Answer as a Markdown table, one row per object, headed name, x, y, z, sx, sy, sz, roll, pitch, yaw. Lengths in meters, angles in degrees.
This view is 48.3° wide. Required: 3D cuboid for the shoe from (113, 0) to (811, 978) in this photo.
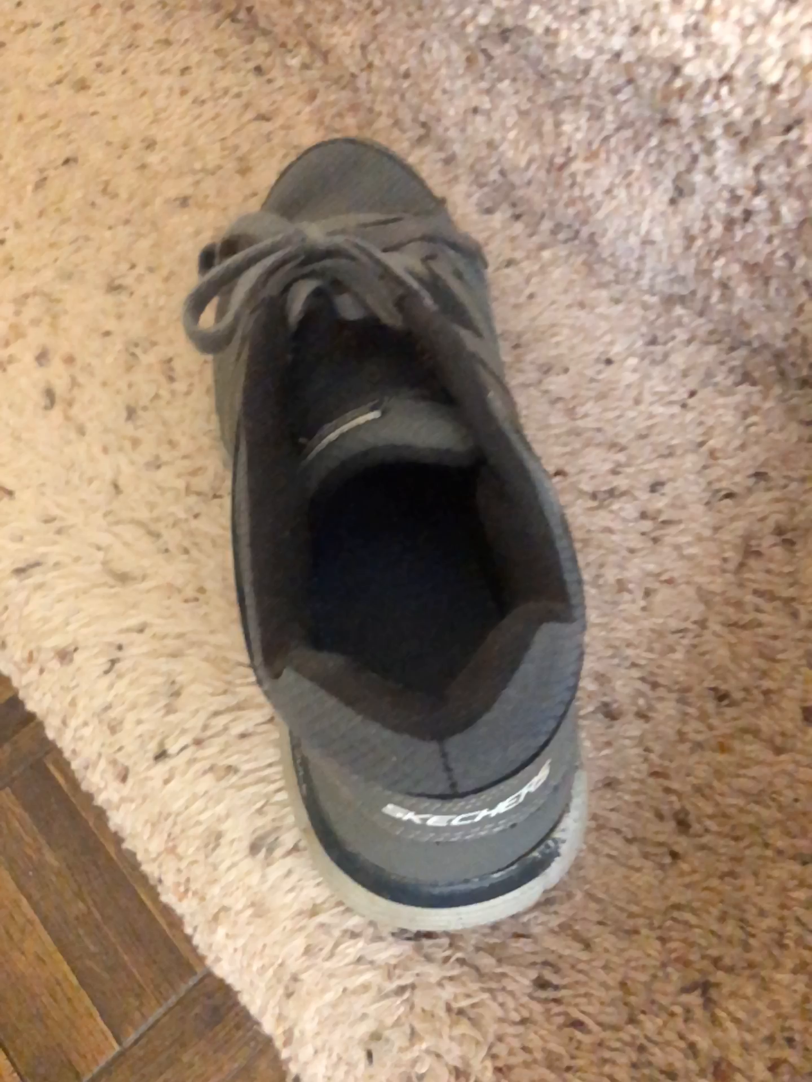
| name | x | y | z | sx | sy | sz | roll | pitch | yaw |
| --- | --- | --- | --- | --- | --- | --- | --- | --- | --- |
| shoe | -0.010 | -0.047 | 0.278 | 0.110 | 0.140 | 0.300 | -11 | 59 | -2 |
